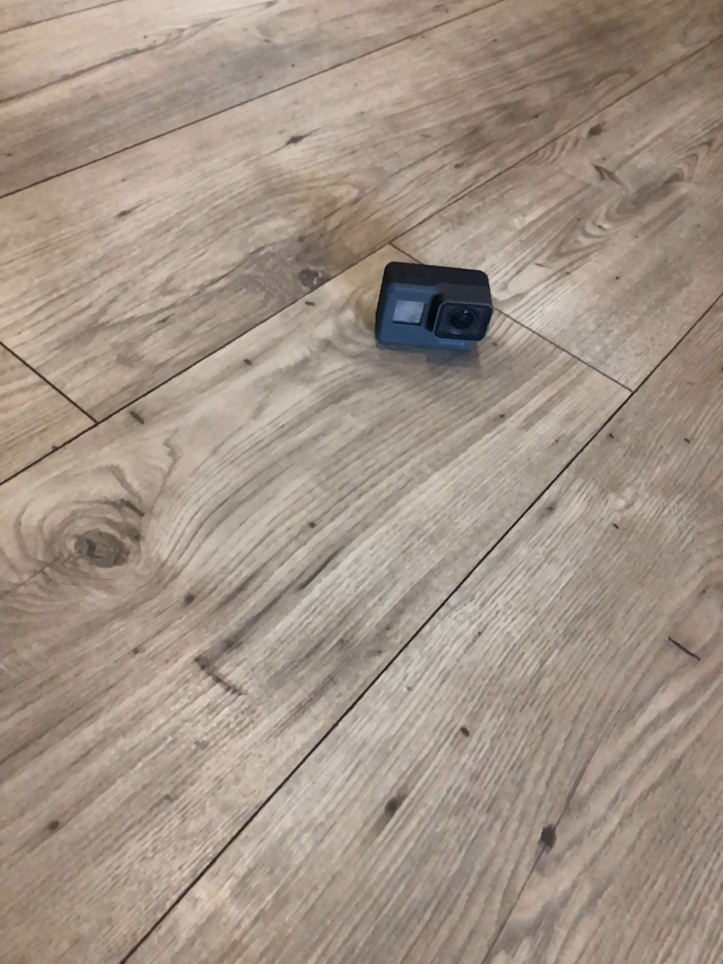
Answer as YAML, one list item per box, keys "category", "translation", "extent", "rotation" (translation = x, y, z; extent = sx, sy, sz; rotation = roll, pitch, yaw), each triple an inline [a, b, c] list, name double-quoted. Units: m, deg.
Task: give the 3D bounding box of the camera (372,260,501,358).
- category: "camera"
  translation: [0.042, -0.100, 0.466]
  extent: [0.065, 0.040, 0.032]
  rotation: [3, 51, -8]
